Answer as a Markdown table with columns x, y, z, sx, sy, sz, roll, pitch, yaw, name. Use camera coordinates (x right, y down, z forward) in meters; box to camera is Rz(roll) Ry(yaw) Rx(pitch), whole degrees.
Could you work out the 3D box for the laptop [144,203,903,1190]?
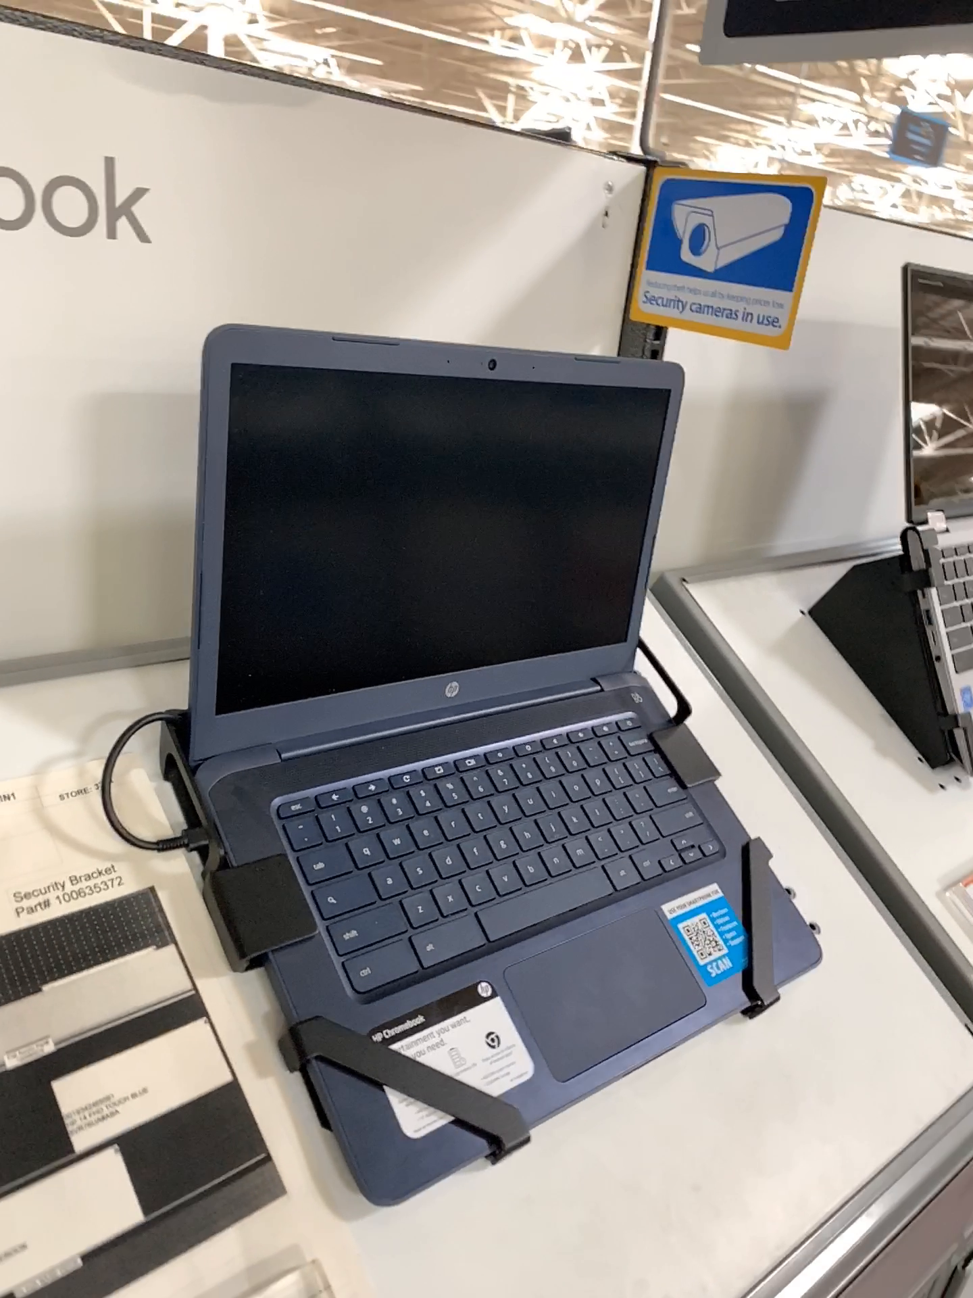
| x | y | z | sx | sy | sz | roll | pitch | yaw | name |
| --- | --- | --- | --- | --- | --- | --- | --- | --- | --- |
| 0.016 | -0.018 | 0.549 | 0.317 | 0.189 | 0.323 | -9 | 49 | -38 | laptop |
